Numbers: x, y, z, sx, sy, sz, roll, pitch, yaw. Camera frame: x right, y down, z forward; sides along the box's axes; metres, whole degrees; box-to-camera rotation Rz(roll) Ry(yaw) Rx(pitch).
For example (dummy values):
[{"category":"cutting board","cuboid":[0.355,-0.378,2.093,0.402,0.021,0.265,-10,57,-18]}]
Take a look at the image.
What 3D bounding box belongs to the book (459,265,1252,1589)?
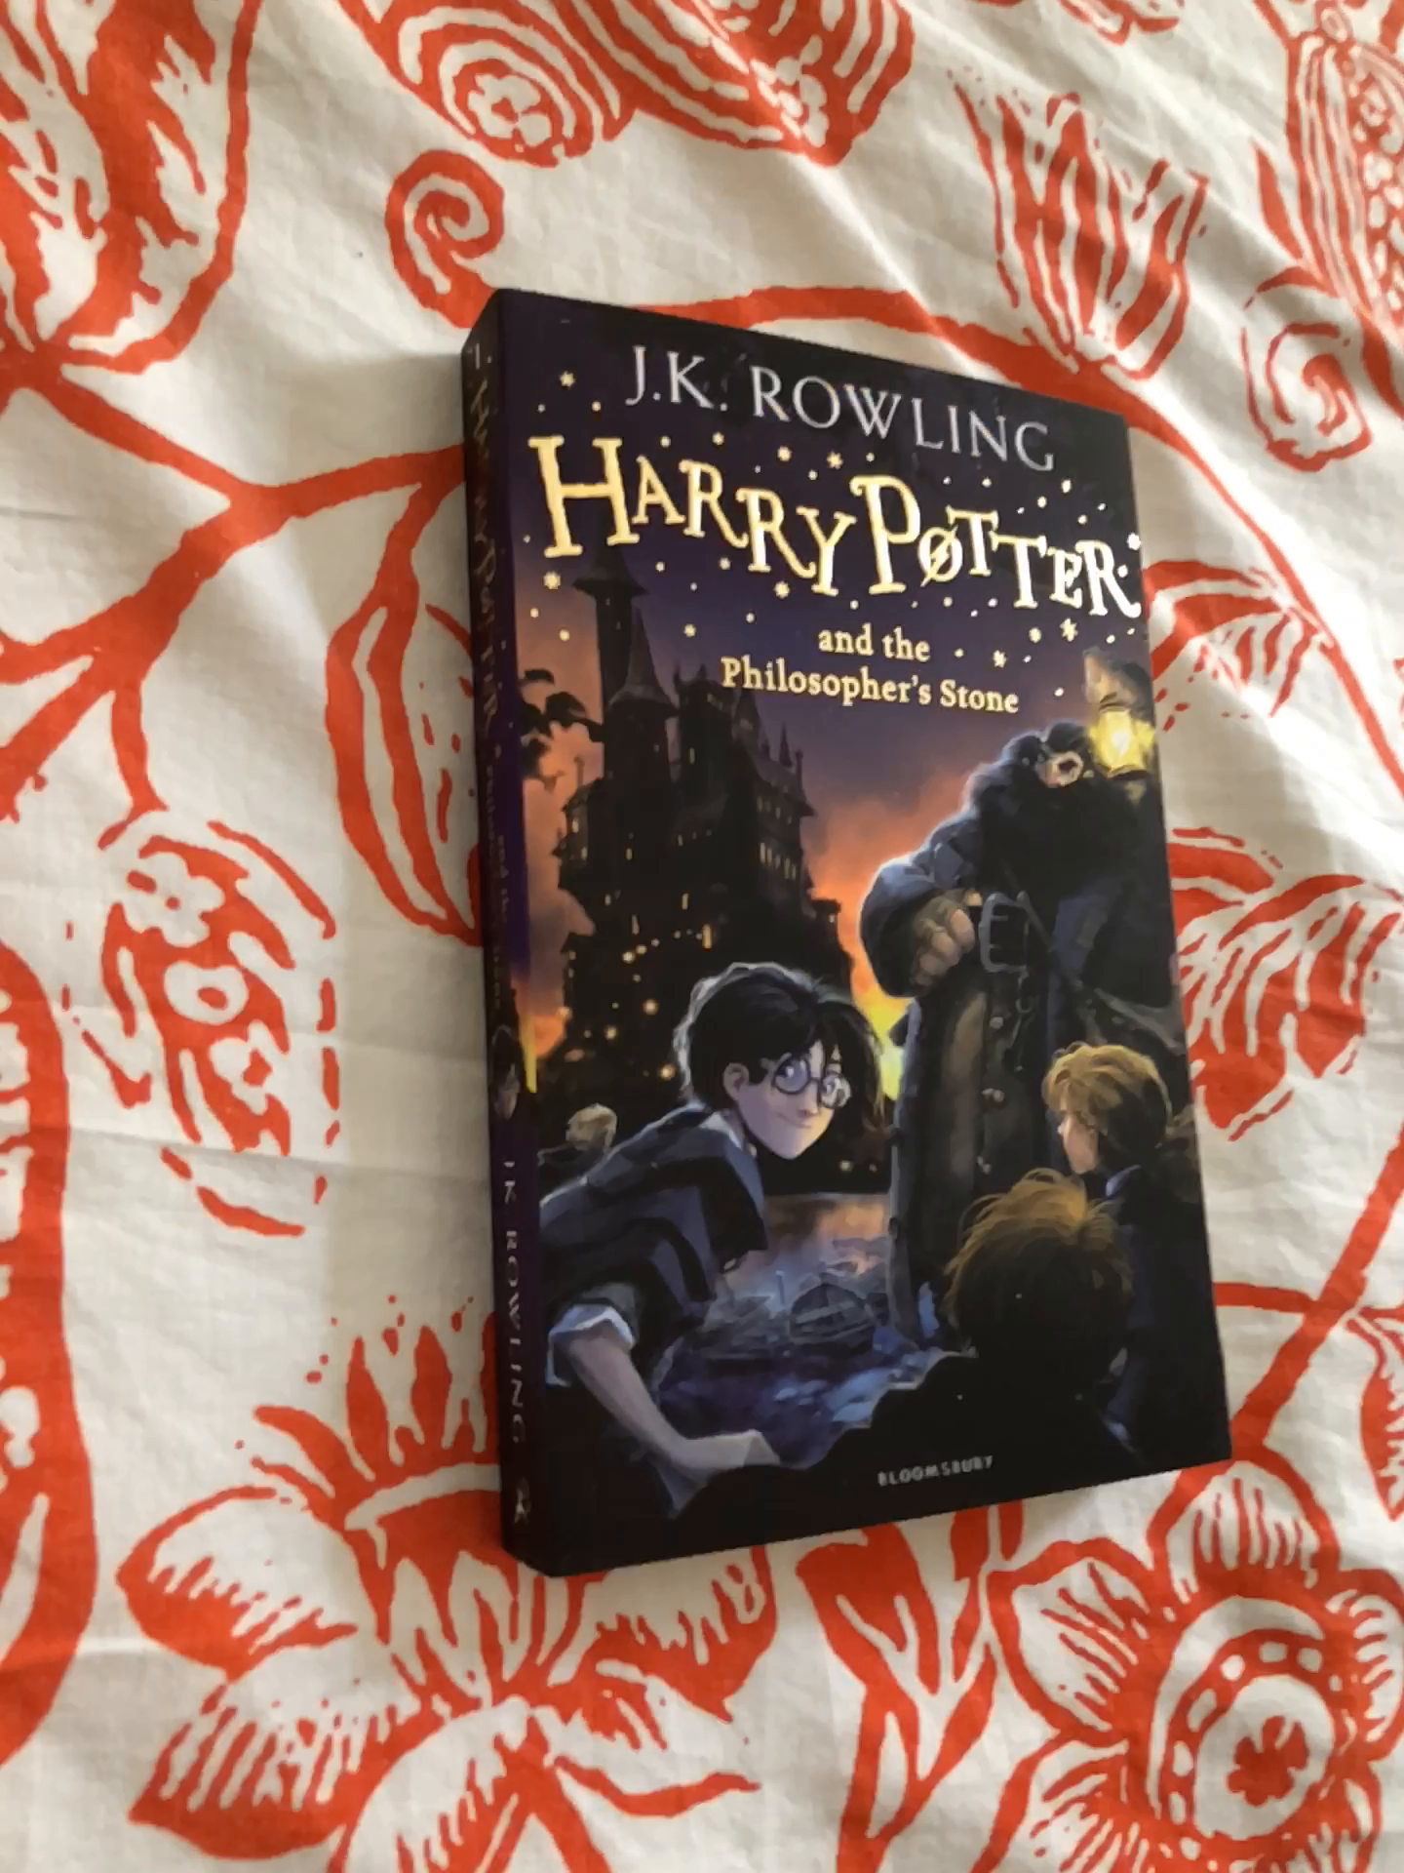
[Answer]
[{"category":"book","cuboid":[0.027,-0.004,0.256,0.127,0.020,0.189,1,82,-26]}]
